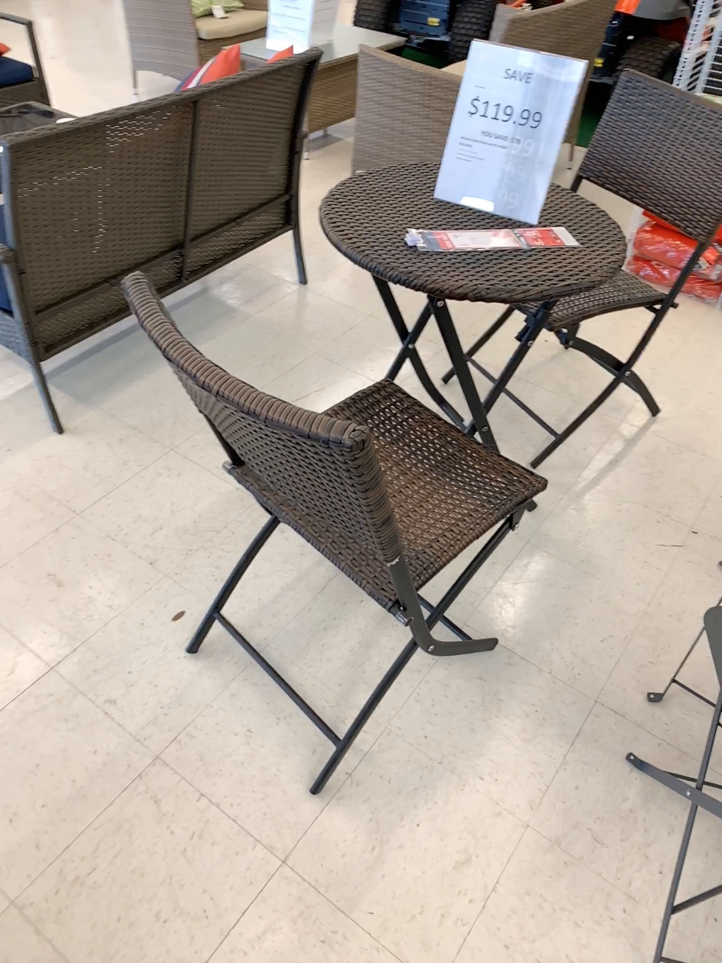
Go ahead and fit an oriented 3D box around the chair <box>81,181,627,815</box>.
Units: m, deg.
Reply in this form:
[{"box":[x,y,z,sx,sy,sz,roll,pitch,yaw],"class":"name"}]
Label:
[{"box":[-0.022,0.028,1.204,0.511,0.766,0.481,-31,53,-32],"class":"chair"}]
